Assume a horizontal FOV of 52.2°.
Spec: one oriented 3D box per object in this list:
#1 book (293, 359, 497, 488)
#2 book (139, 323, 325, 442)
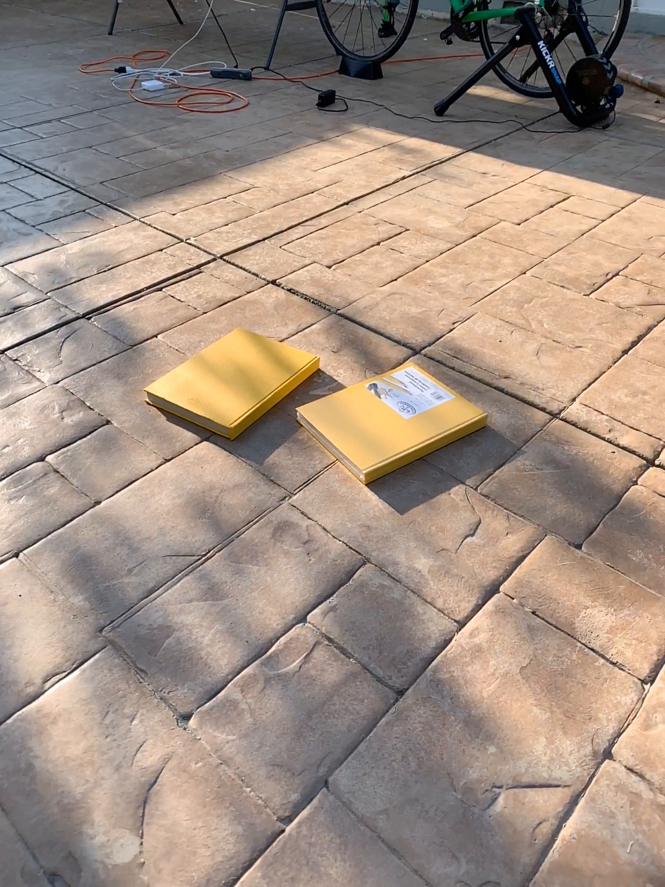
[{"bbox_3d":[0.115,-0.049,1.266,0.300,0.030,0.231,-23,45,-27],"label":"book"},{"bbox_3d":[-0.195,-0.137,1.376,0.231,0.030,0.311,22,43,24],"label":"book"}]
